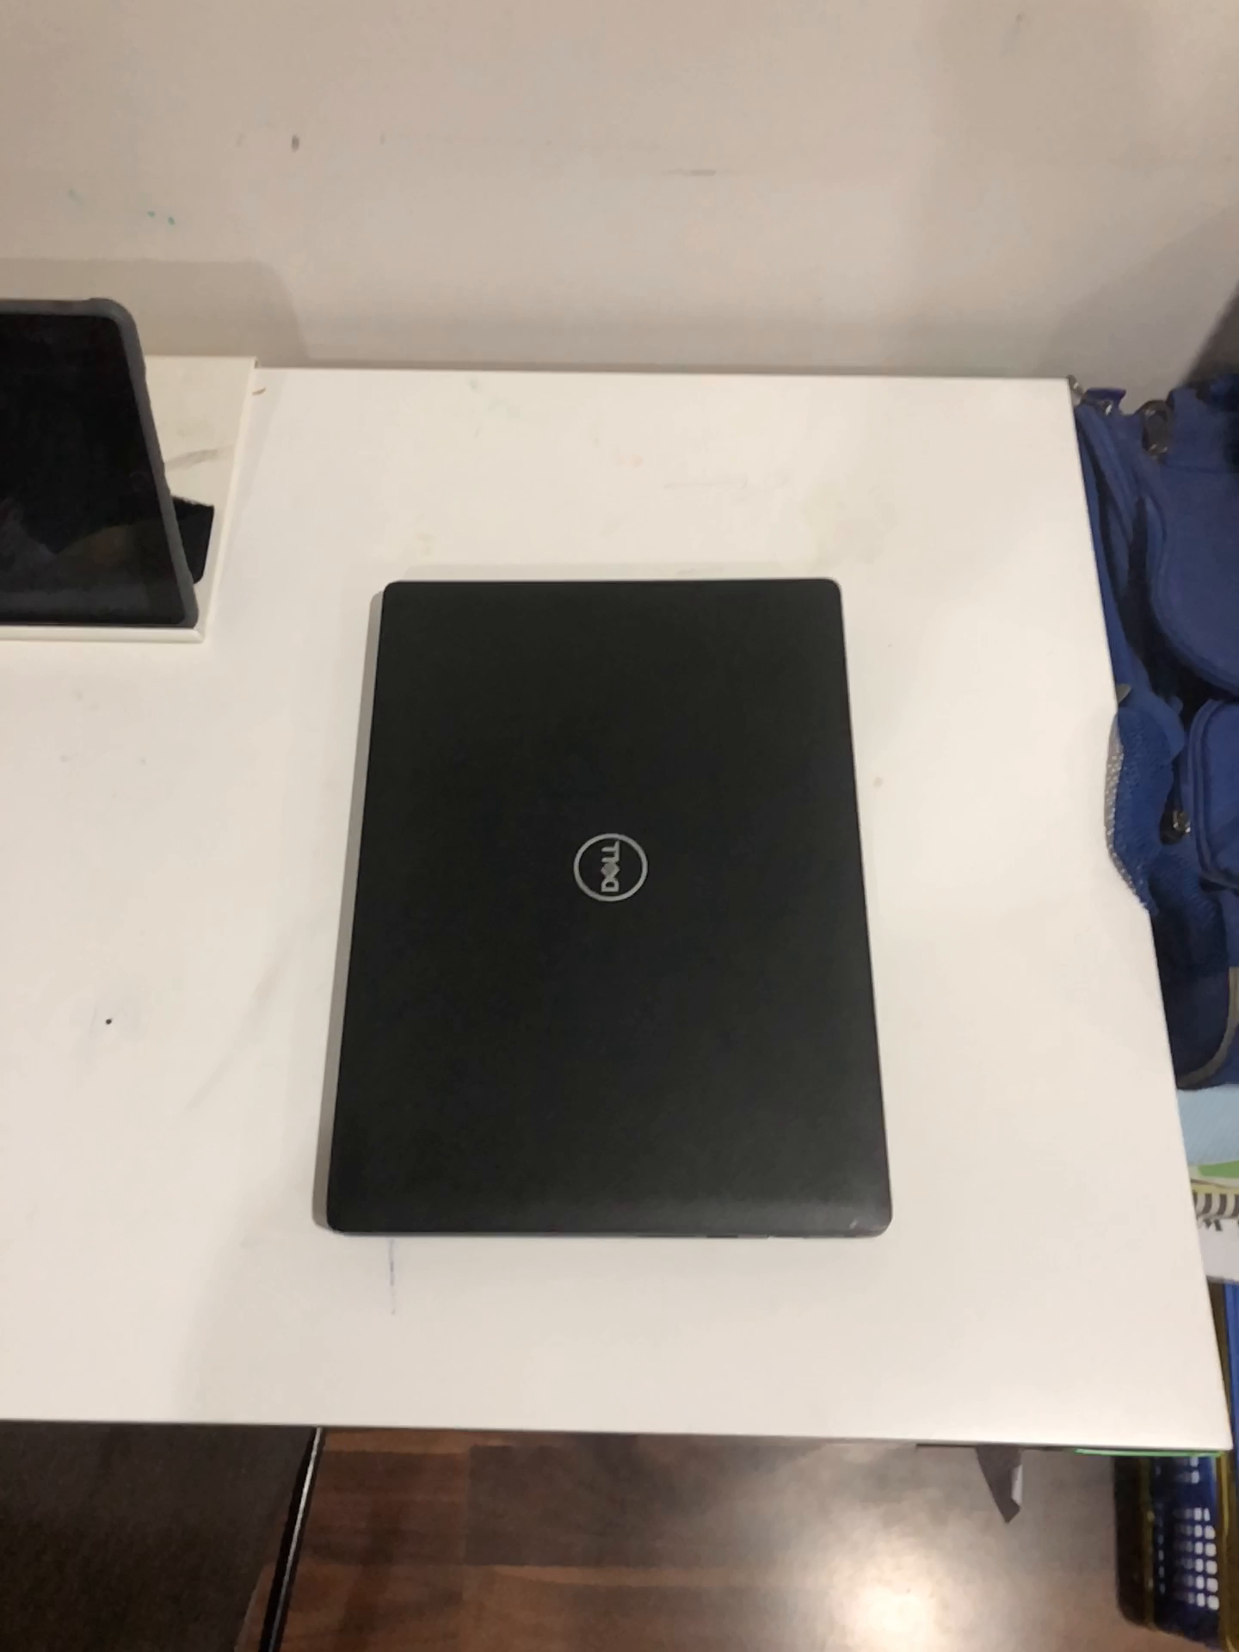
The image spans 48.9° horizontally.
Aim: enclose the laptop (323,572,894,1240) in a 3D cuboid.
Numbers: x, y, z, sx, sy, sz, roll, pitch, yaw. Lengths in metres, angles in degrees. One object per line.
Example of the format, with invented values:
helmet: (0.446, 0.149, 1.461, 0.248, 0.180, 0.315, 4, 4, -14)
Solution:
laptop: (-0.005, 0.022, 0.647, 0.241, 0.010, 0.333, -1, 65, 3)
